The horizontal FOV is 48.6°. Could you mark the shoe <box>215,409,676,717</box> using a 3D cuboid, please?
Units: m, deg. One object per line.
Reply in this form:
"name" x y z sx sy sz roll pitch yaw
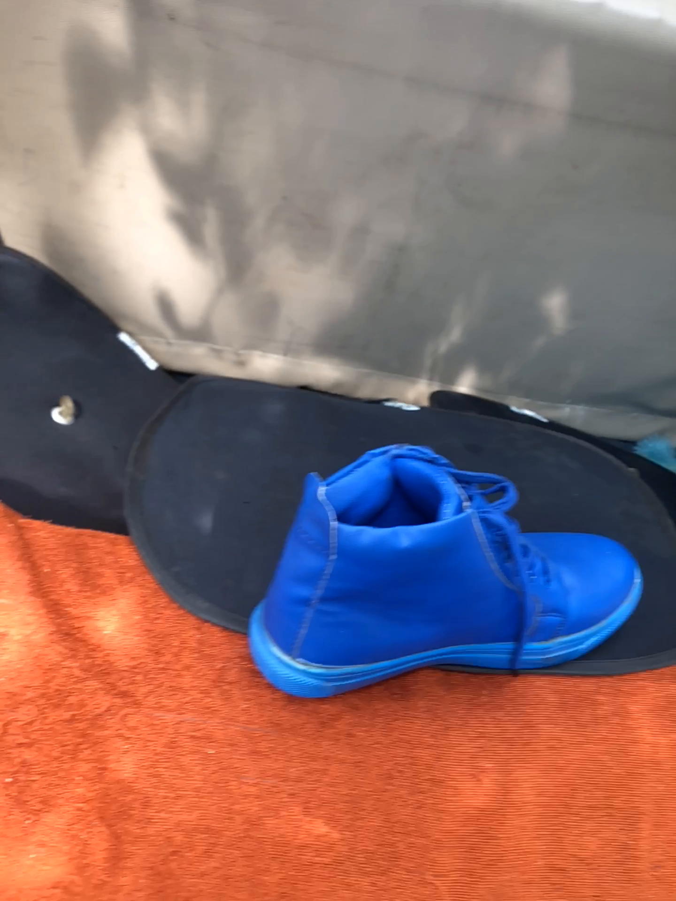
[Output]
"shoe" 0.086 0.060 0.493 0.301 0.119 0.130 -2 39 -21
